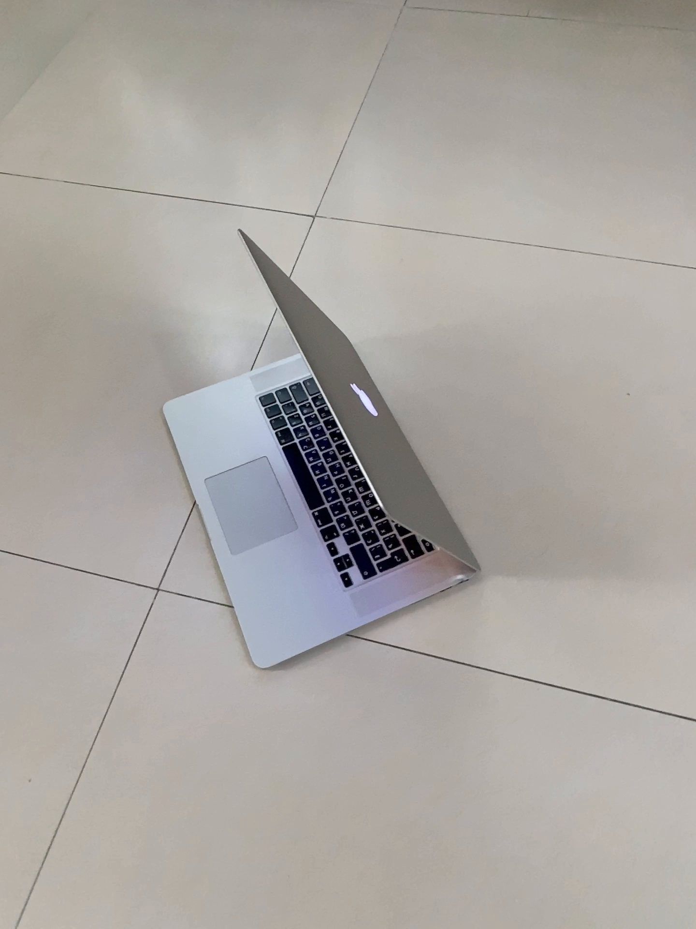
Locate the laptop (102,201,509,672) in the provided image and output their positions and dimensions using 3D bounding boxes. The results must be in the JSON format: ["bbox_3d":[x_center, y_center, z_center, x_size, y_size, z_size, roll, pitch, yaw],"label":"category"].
[{"bbox_3d":[-0.053,-0.035,0.712,0.241,0.208,0.360,-21,60,-10],"label":"laptop"}]
